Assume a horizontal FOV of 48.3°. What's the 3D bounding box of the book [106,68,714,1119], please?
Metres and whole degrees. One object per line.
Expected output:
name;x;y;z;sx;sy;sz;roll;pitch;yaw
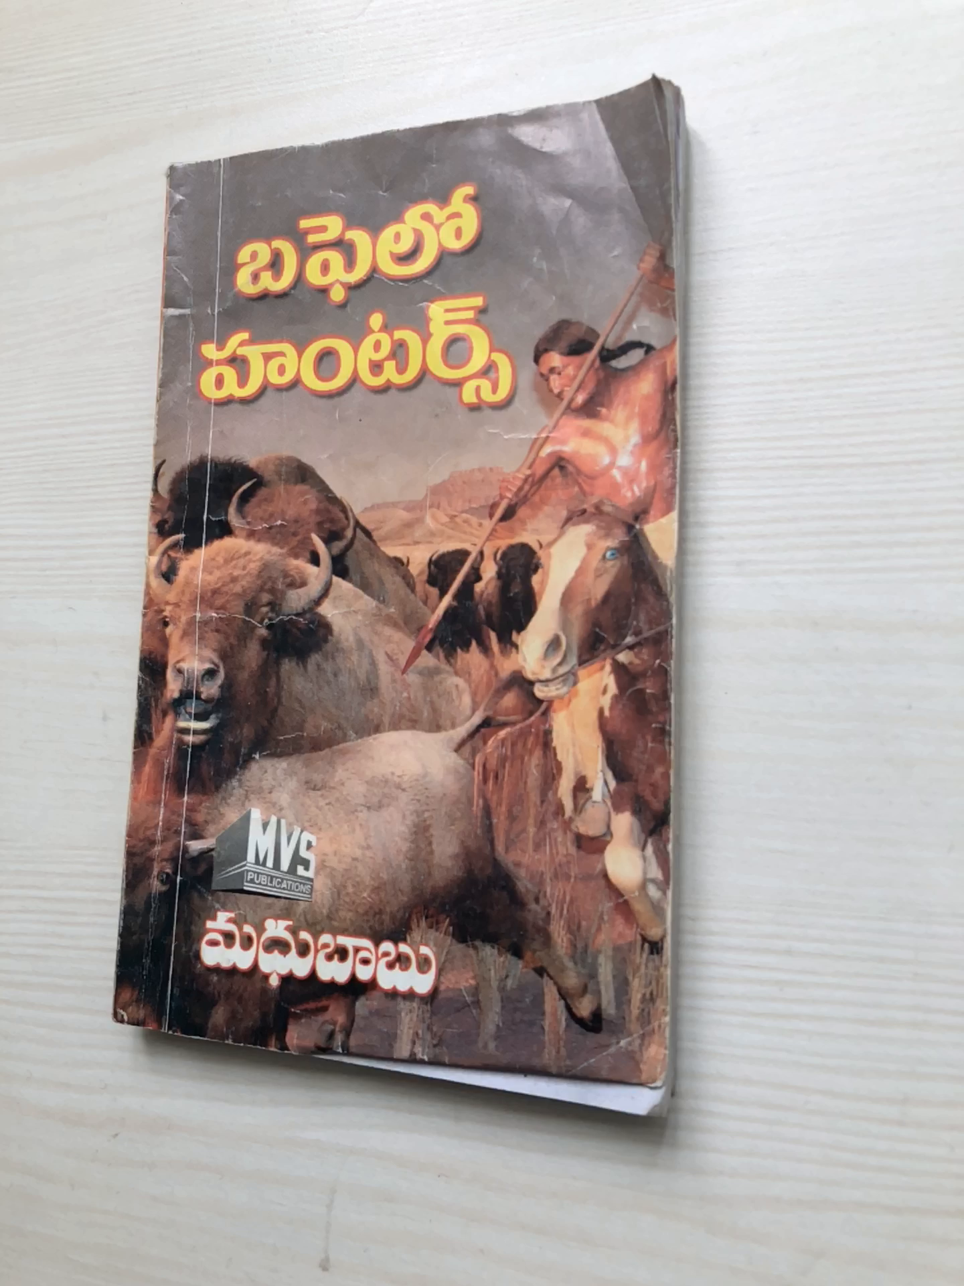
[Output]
book;-0.013;-0.008;0.180;0.100;0.020;0.150;0;88;20
